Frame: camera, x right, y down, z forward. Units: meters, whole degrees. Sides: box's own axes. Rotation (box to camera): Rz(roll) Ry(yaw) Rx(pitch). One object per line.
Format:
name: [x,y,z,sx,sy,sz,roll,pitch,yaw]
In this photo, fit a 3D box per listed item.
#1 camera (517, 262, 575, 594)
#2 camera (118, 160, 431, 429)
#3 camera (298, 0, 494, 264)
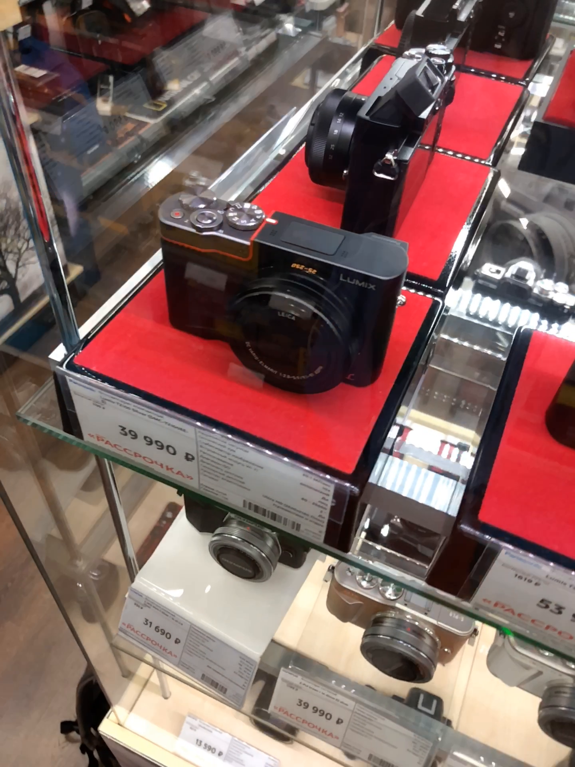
camera: [0.157,0.015,0.235,0.113,0.070,0.051,23,50,16]
camera: [-0.006,-0.039,0.276,0.113,0.070,0.050,21,50,14]
camera: [0.063,-0.152,0.376,0.069,0.101,0.113,19,50,13]
